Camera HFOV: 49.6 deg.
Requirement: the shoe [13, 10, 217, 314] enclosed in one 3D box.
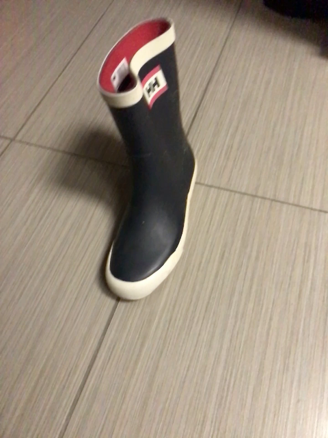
[{"bbox_3d":[-0.018,-0.065,0.430,0.102,0.217,0.280,10,60,15],"label":"shoe"}]
